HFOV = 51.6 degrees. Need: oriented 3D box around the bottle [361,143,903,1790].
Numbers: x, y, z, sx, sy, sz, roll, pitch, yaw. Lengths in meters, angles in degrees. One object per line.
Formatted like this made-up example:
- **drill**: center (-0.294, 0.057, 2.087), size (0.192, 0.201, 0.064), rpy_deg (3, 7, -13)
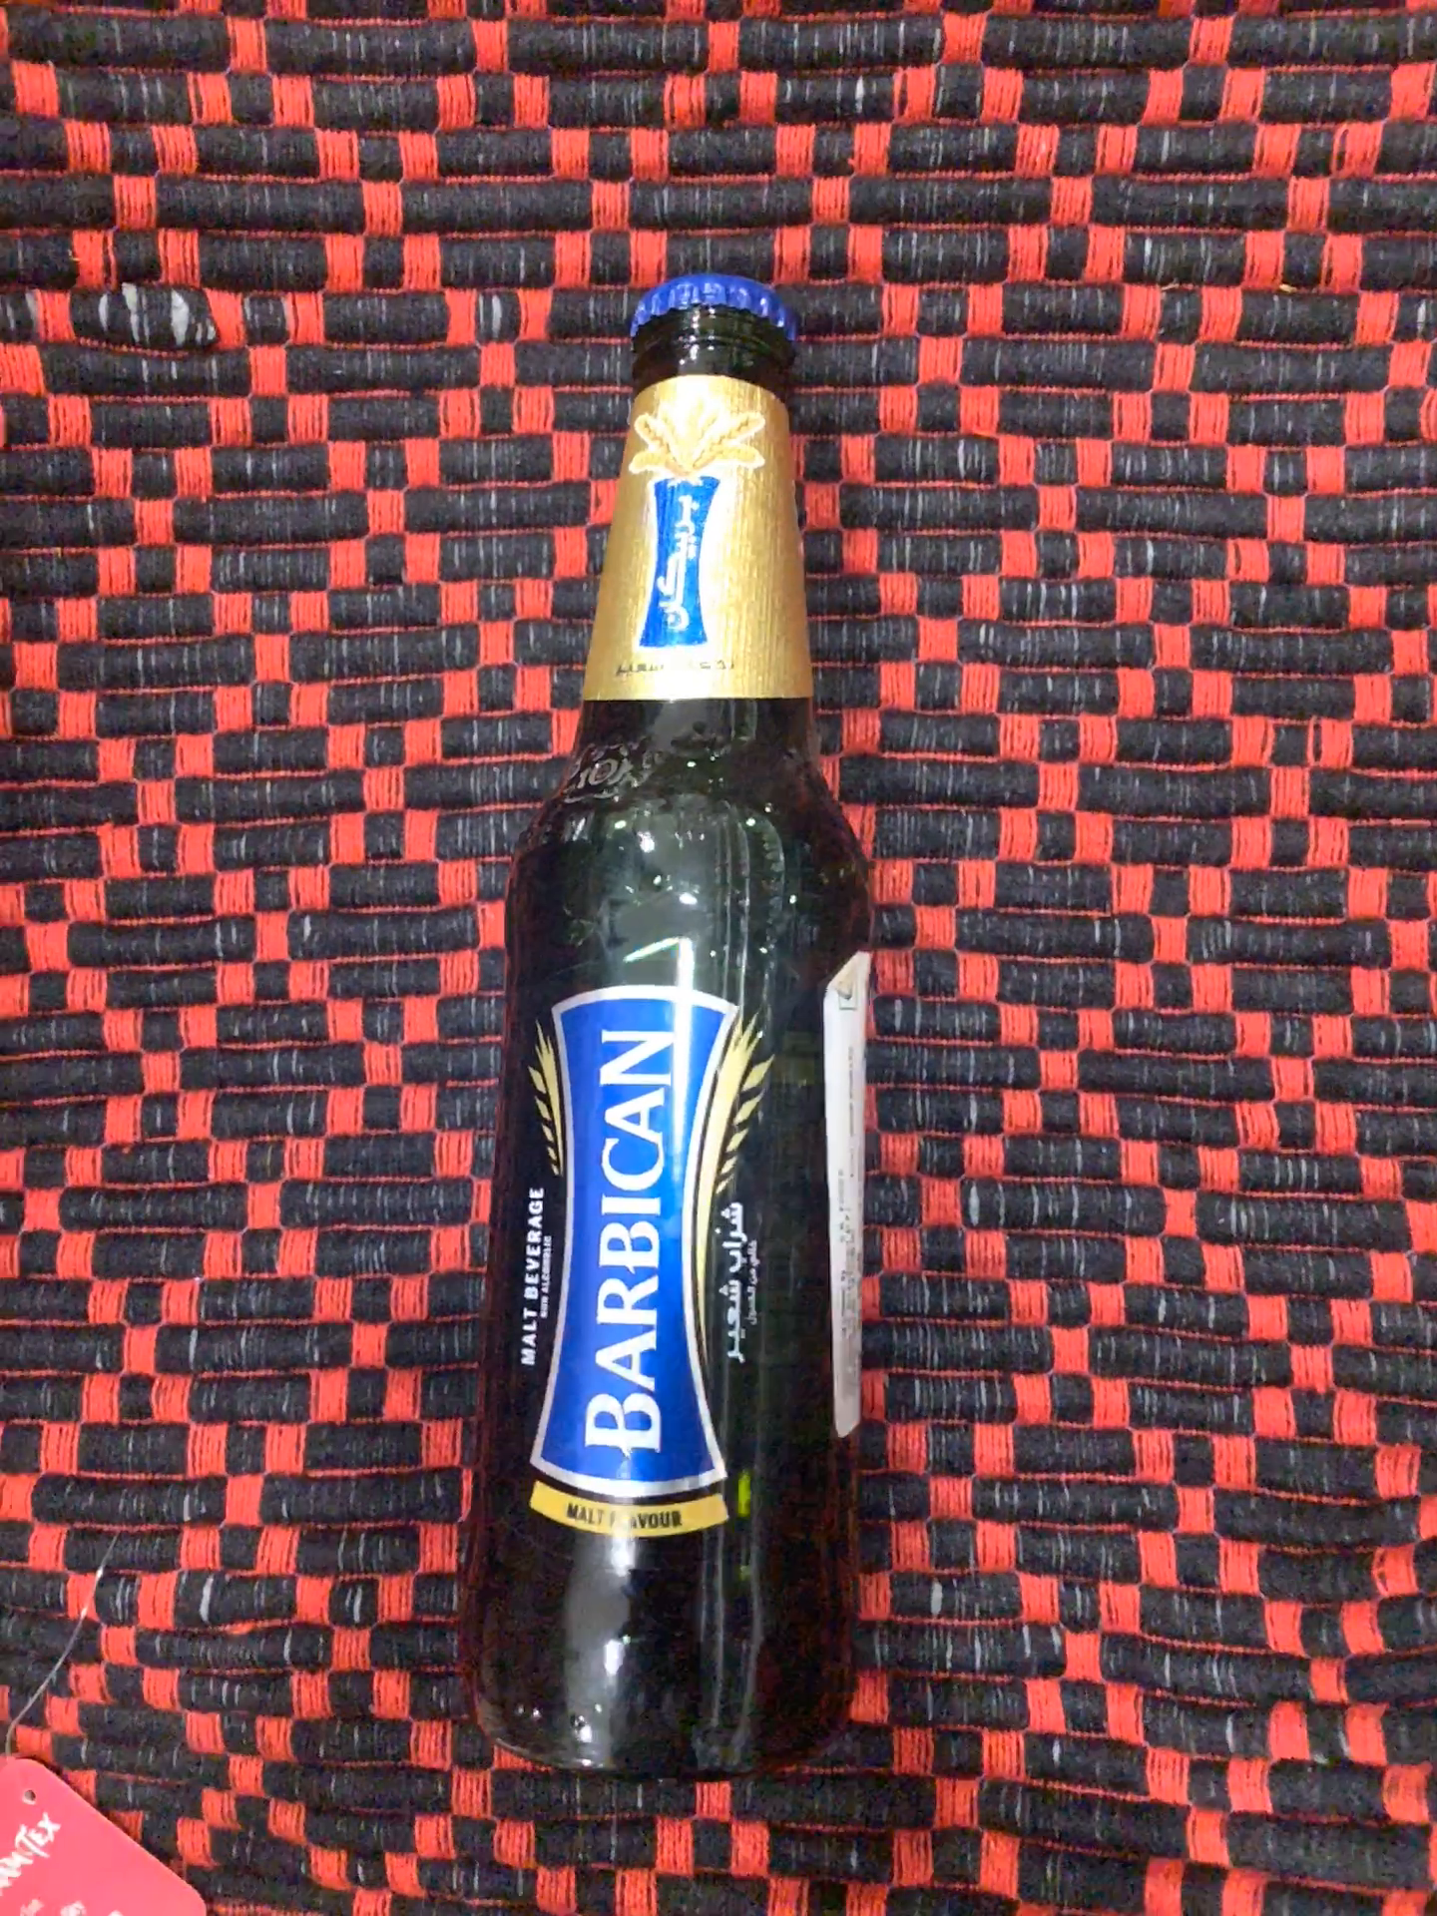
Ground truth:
- **bottle**: center (-0.007, -0.004, 0.218), size (0.060, 0.060, 0.210), rpy_deg (2, 81, 2)
